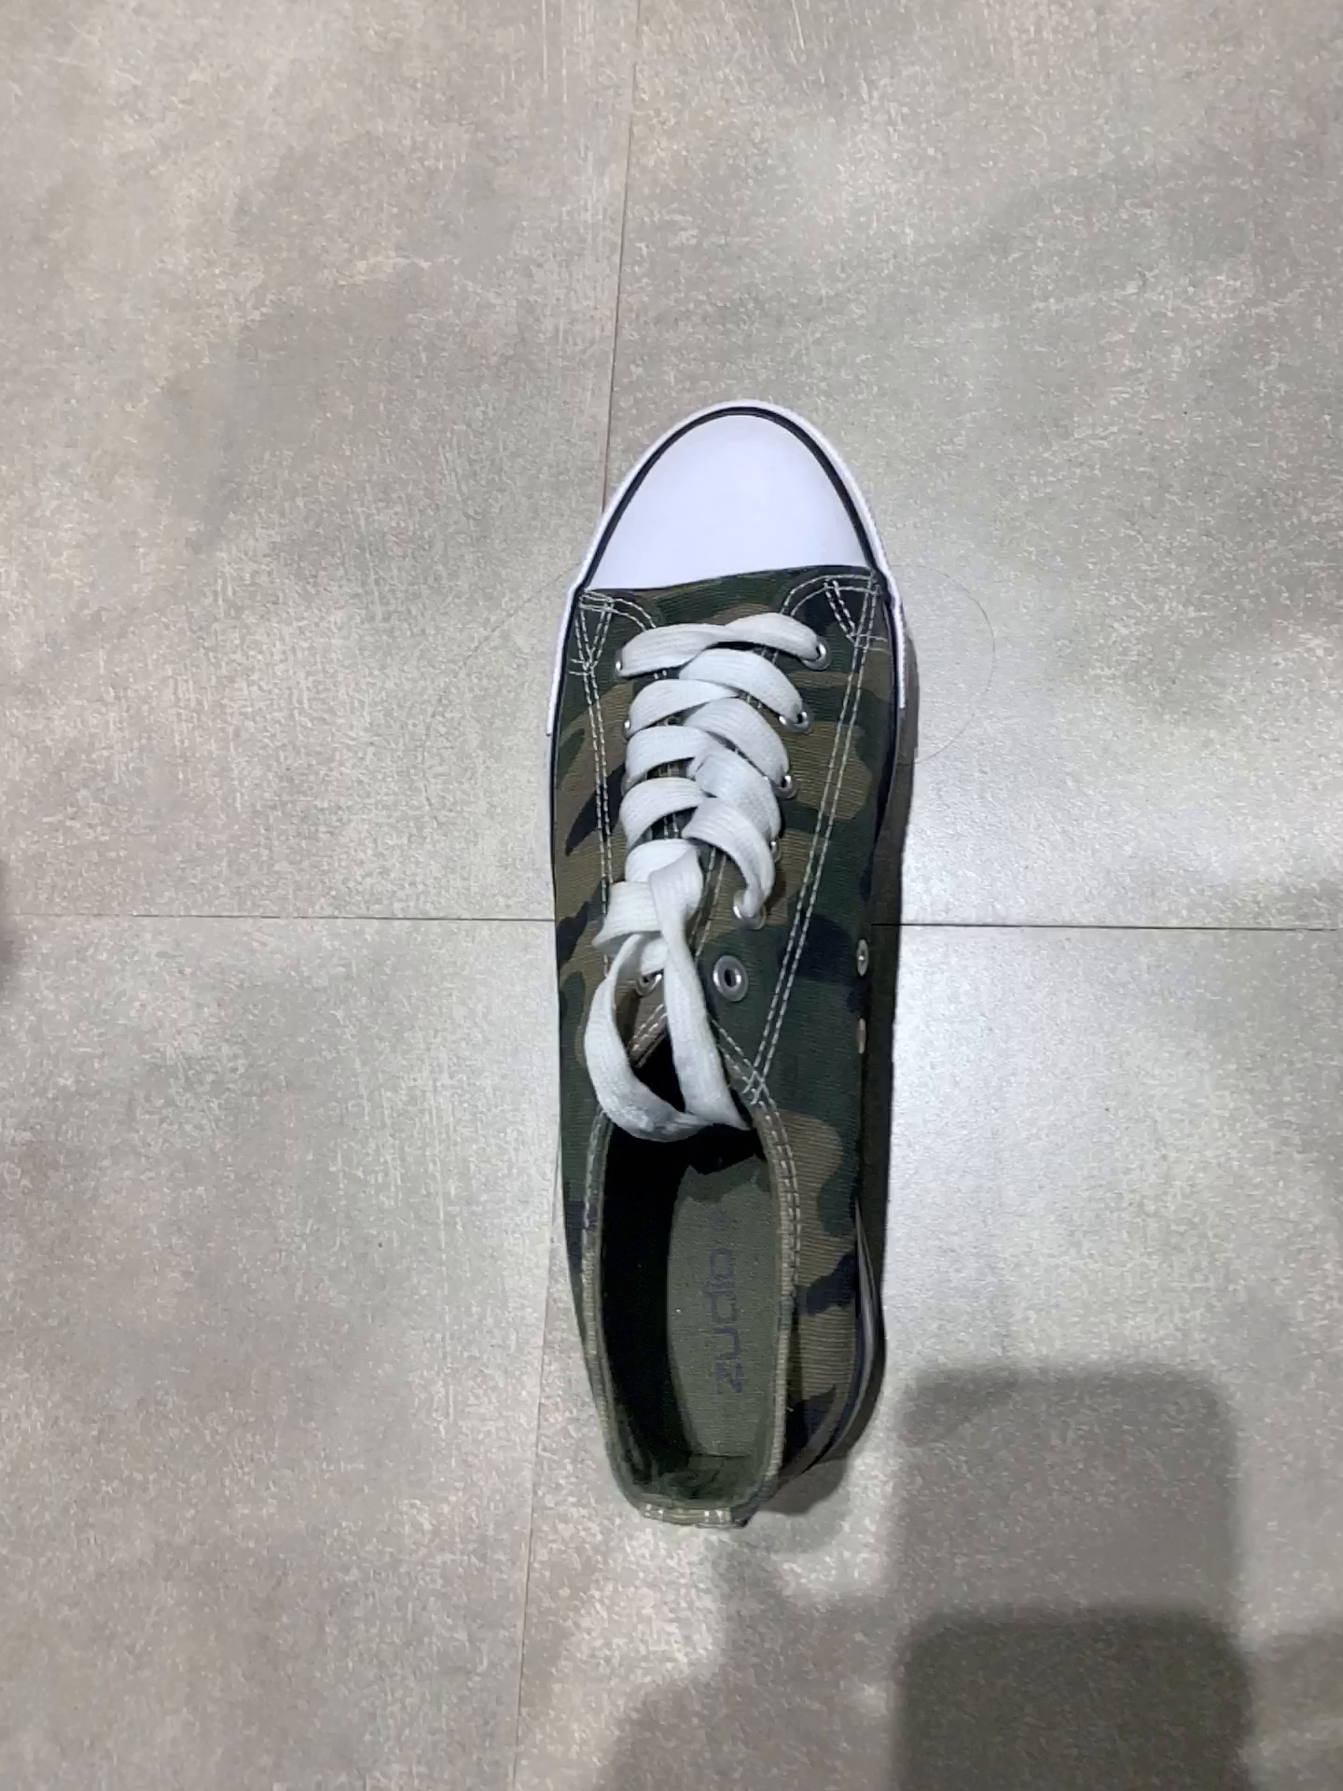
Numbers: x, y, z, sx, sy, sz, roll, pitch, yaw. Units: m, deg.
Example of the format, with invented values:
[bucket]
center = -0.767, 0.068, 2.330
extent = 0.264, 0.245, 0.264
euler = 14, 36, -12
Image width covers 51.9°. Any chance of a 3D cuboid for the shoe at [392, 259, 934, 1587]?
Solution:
[shoe]
center = 0.005, 0.002, 0.318
extent = 0.099, 0.079, 0.266
euler = -2, 77, 11
